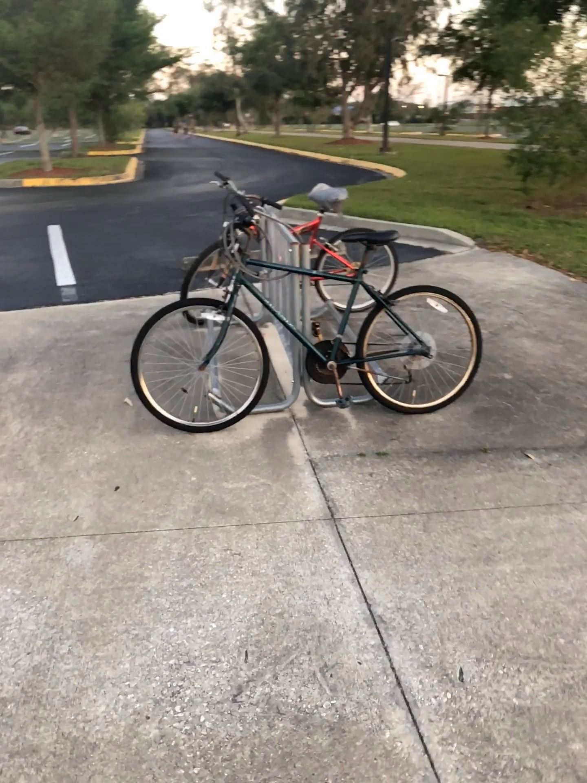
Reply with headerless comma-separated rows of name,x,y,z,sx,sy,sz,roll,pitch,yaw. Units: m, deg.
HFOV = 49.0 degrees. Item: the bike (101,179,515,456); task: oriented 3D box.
bike,0.086,-0.403,3.147,1.750,1.104,0.586,-5,22,-8
